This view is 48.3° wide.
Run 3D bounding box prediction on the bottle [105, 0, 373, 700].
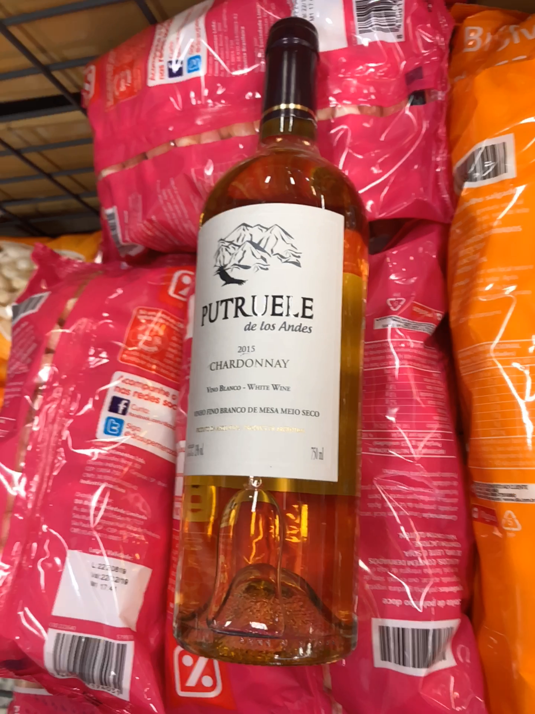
[{"bbox_3d":[0.002,-0.032,0.261,0.080,0.070,0.300,-1,73,15],"label":"bottle"}]
